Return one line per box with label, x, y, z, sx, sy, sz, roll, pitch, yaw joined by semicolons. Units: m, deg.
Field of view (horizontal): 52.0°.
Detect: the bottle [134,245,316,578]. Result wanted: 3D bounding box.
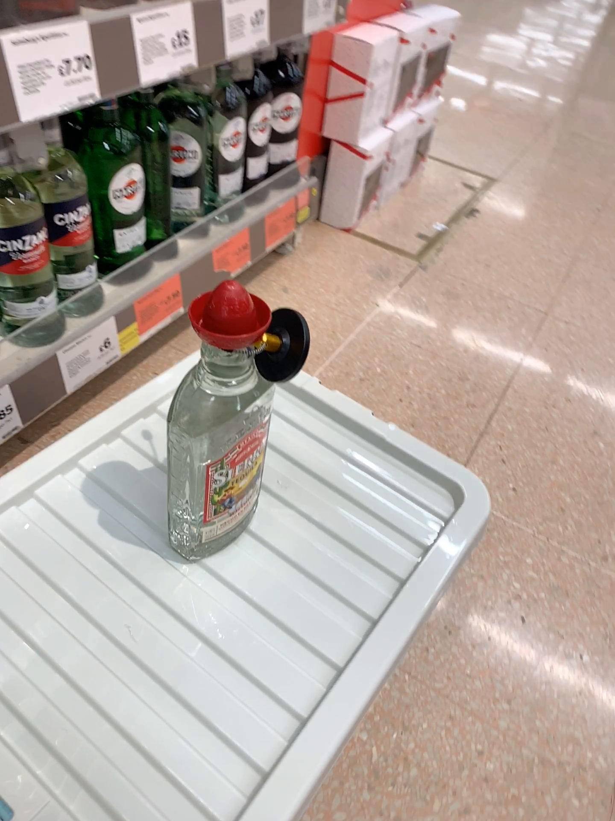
bottle;-0.065;0.011;0.475;0.058;0.240;0.104;33;48;22
